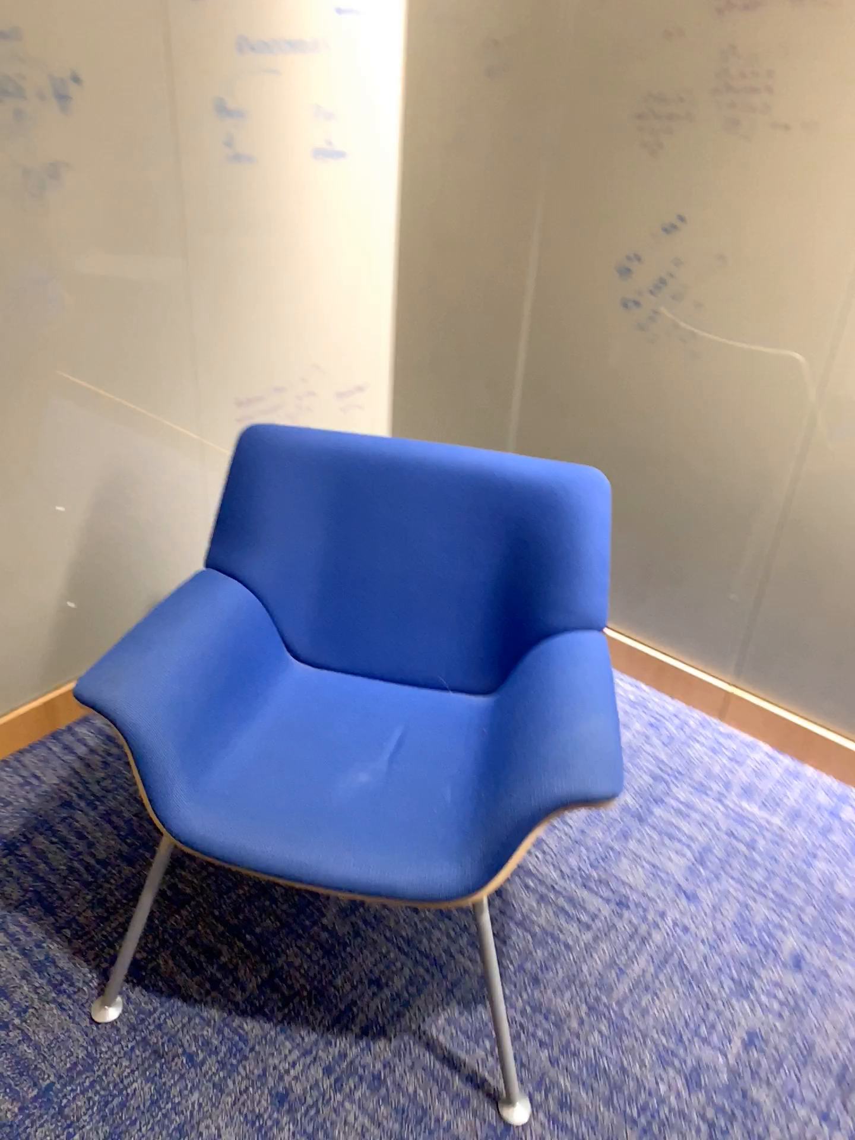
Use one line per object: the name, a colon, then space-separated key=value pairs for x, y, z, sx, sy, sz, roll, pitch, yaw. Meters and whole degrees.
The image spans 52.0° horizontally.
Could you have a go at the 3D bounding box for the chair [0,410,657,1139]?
chair: x=-0.105 y=0.259 z=1.417 sx=0.788 sy=0.712 sz=0.744 roll=9 pitch=31 yaw=8
